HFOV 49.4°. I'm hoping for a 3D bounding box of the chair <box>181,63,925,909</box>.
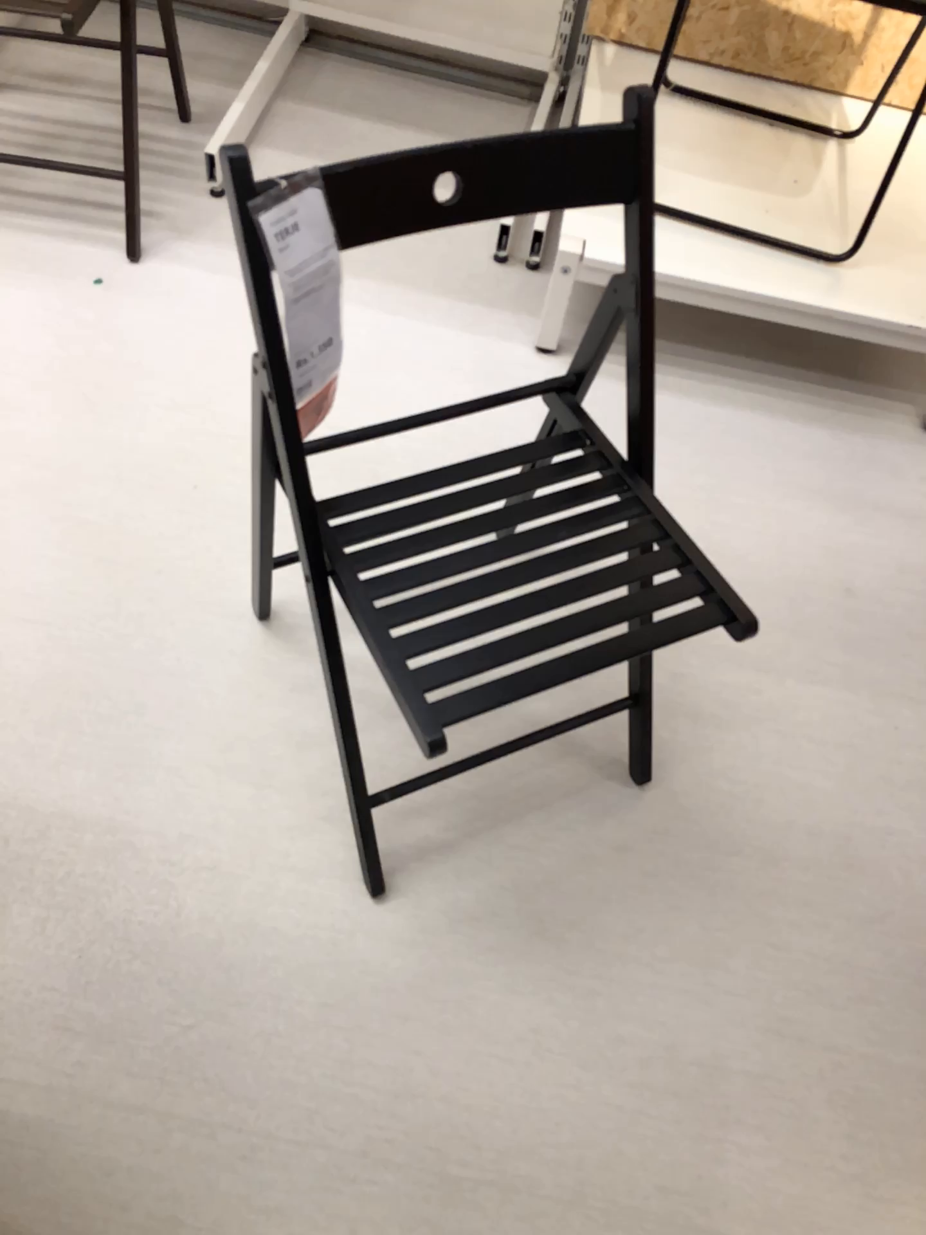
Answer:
[{"bbox_3d":[0.016,-0.094,1.108,0.441,0.726,0.482,-18,62,-19],"label":"chair"}]
